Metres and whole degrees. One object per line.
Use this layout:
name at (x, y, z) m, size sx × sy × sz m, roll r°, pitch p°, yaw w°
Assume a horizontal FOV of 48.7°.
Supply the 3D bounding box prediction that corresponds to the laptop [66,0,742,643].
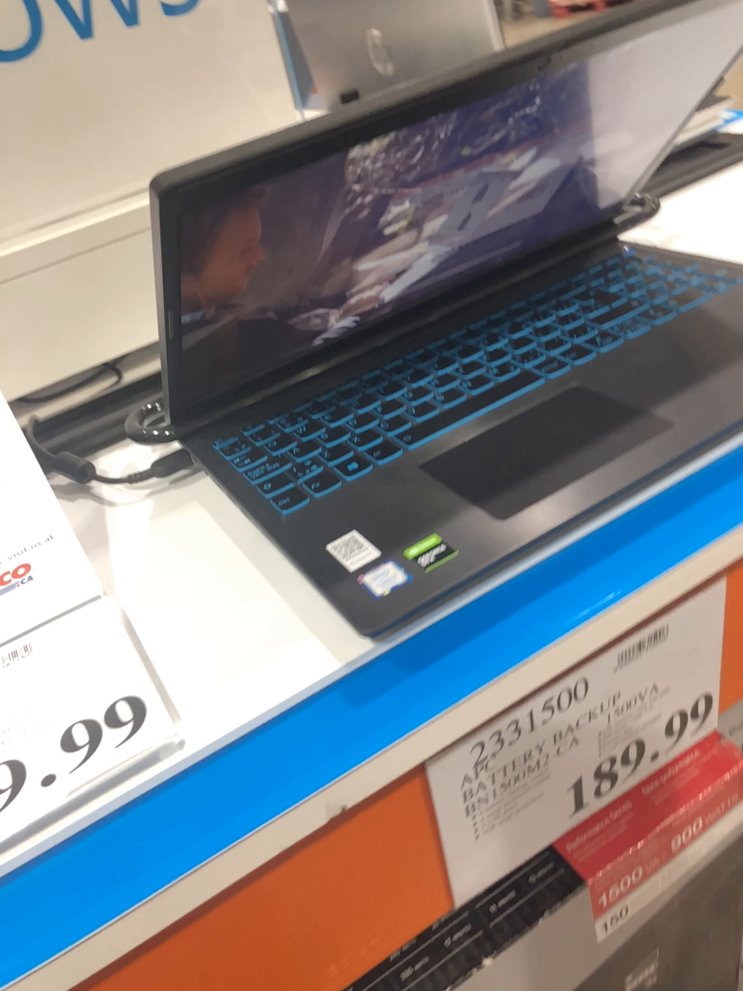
laptop at (0.067, -0.137, 0.420) m, size 0.344 × 0.170 × 0.242 m, roll -28°, pitch 35°, yaw -18°
